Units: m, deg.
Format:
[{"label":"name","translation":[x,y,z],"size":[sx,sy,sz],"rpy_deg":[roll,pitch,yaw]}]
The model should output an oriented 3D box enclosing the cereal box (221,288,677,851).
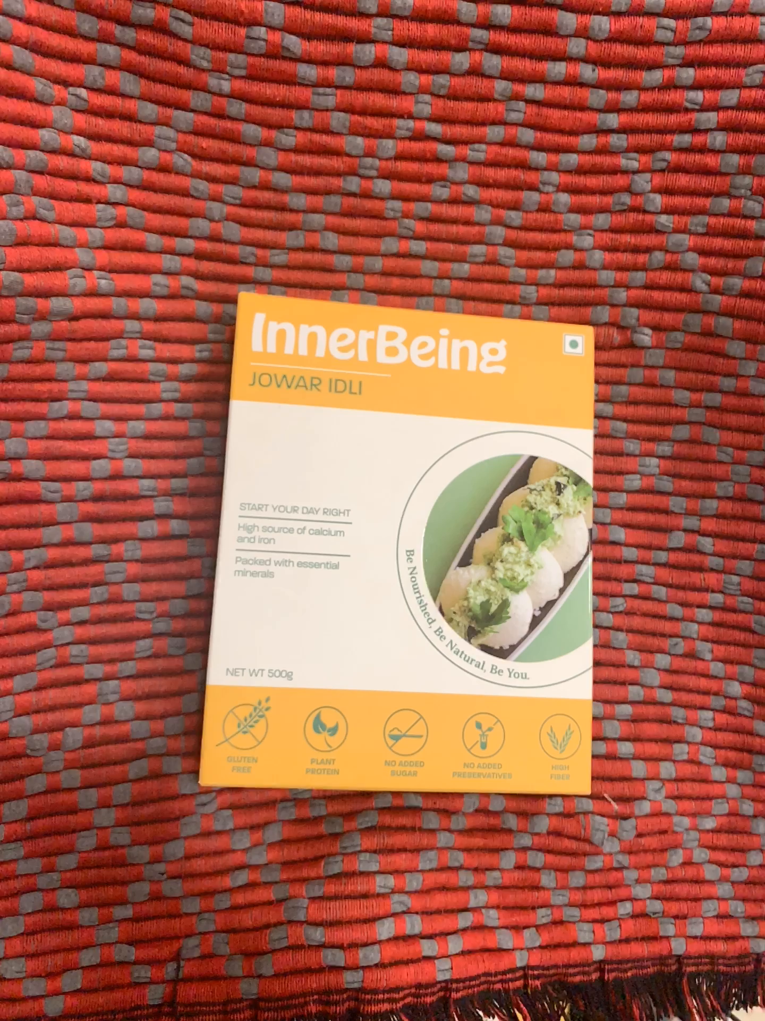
[{"label":"cereal box","translation":[0.017,0.022,0.310],"size":[0.150,0.070,0.190],"rpy_deg":[2,75,-10]}]
